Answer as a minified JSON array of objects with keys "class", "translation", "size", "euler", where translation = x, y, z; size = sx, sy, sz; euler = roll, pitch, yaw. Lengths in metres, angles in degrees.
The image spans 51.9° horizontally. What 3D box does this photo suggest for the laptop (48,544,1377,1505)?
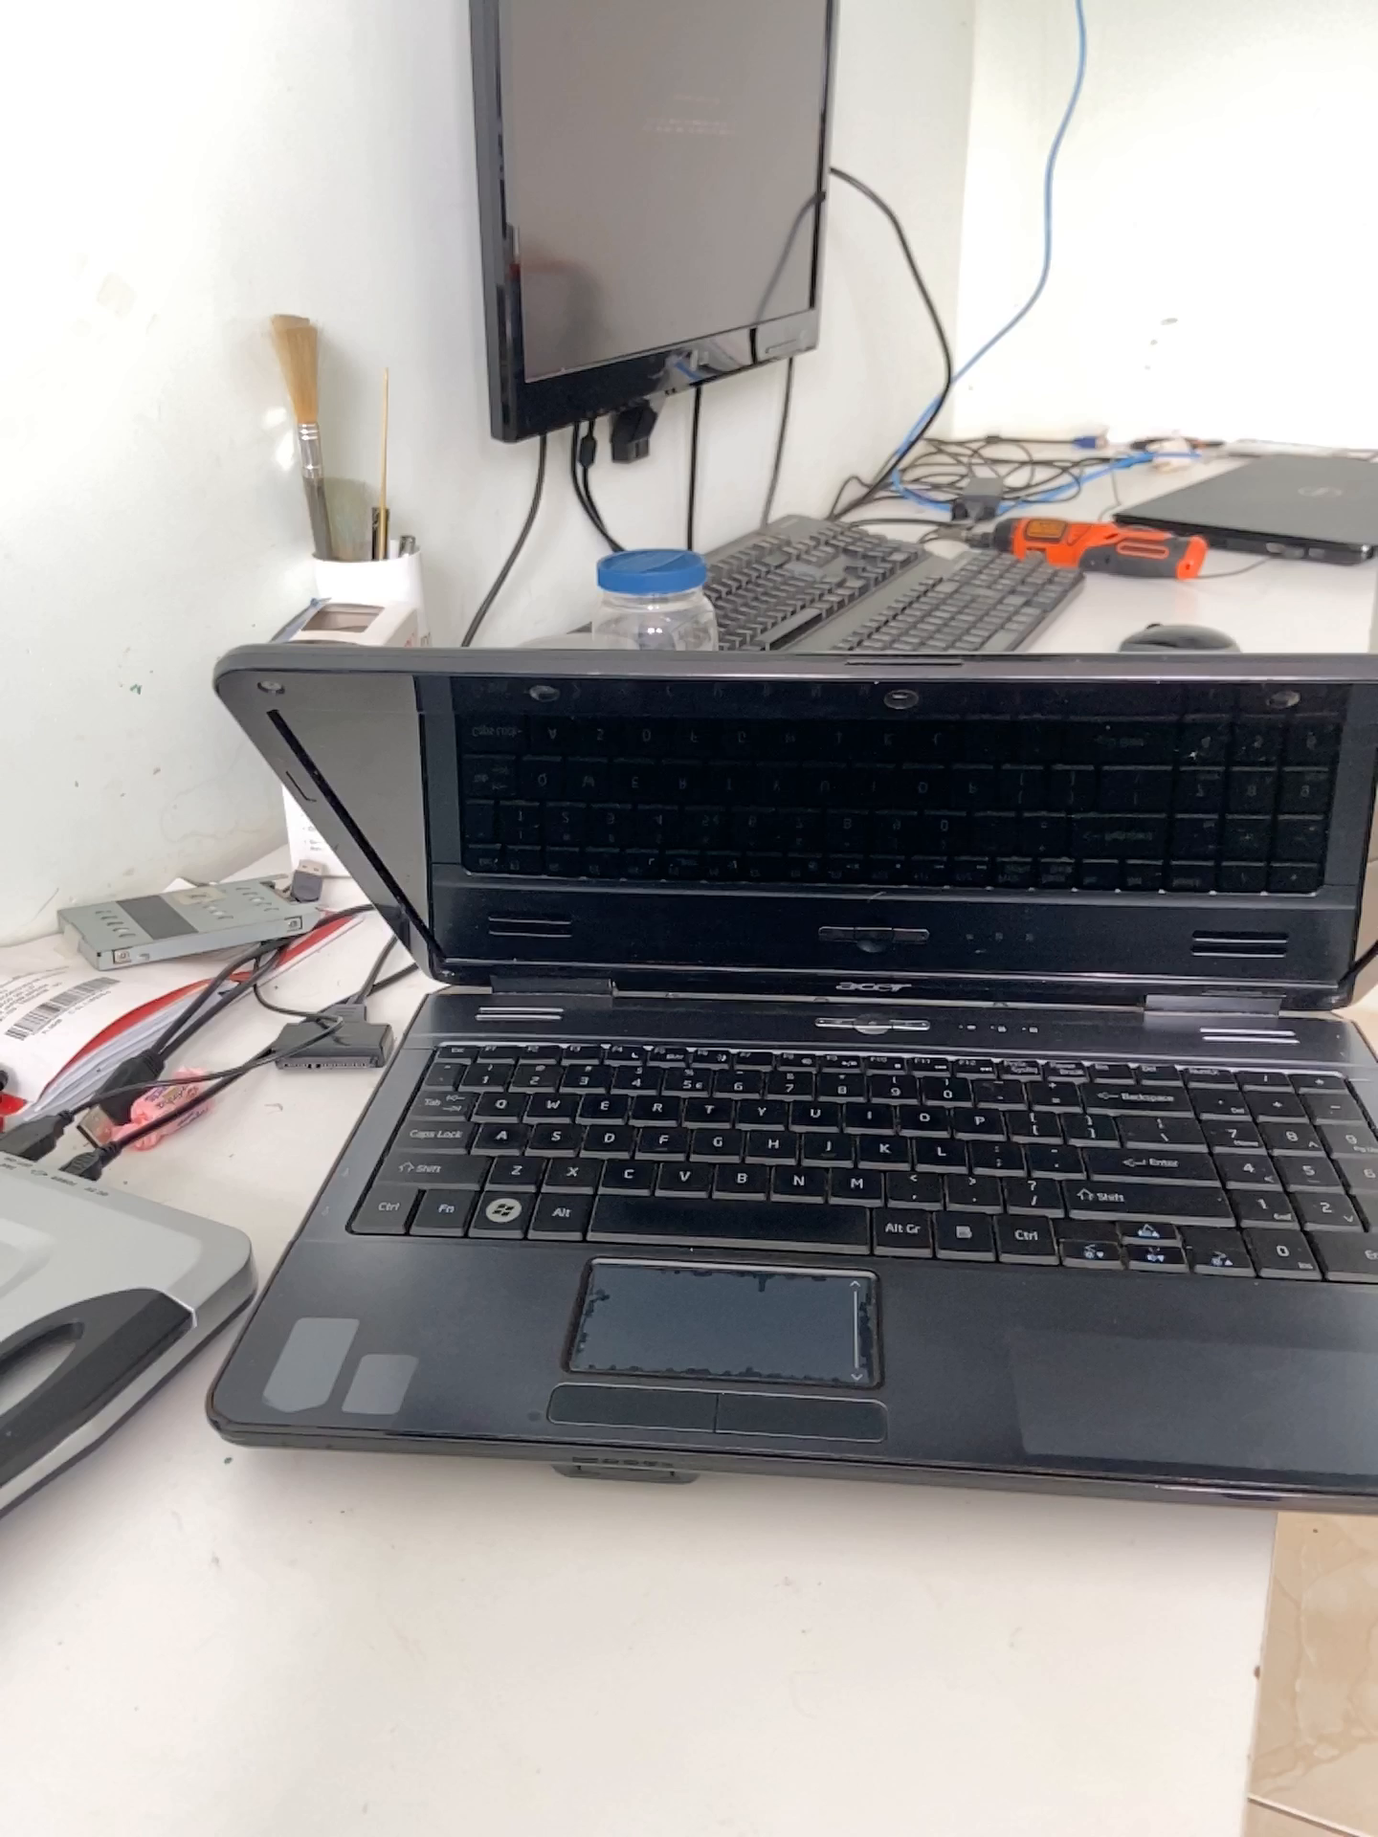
[{"class":"laptop","translation":[0.060,0.005,0.430],"size":[0.366,0.183,0.234],"euler":[1,27,6]}]
